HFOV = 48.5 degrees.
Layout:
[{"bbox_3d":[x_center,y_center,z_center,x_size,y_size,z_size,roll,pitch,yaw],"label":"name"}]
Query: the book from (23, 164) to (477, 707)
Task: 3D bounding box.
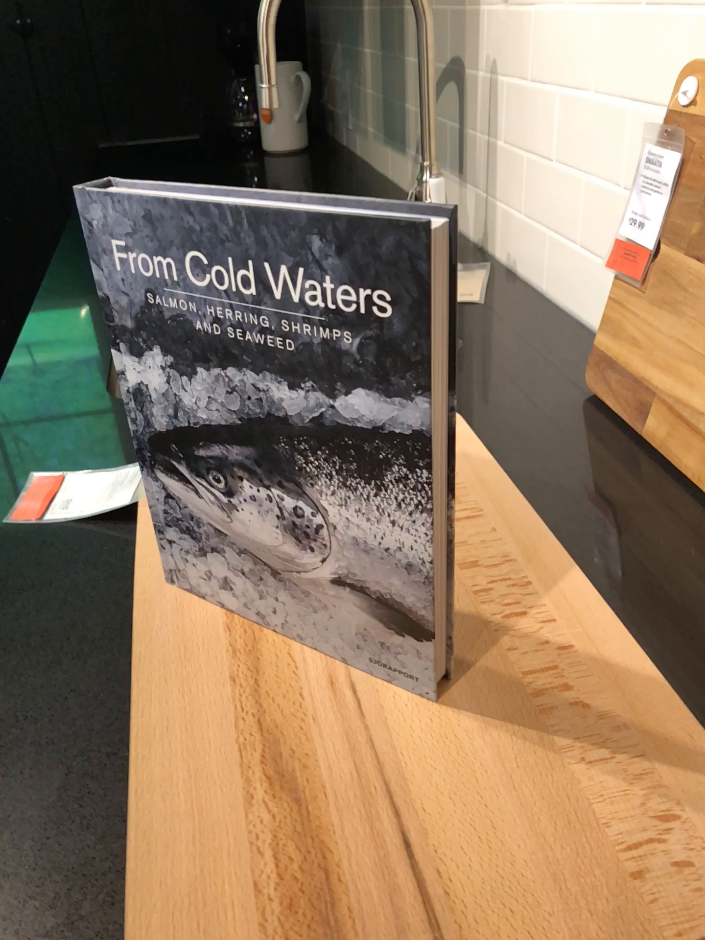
[{"bbox_3d":[-0.047,-0.020,0.366,0.213,0.219,0.029,16,35,31],"label":"book"}]
